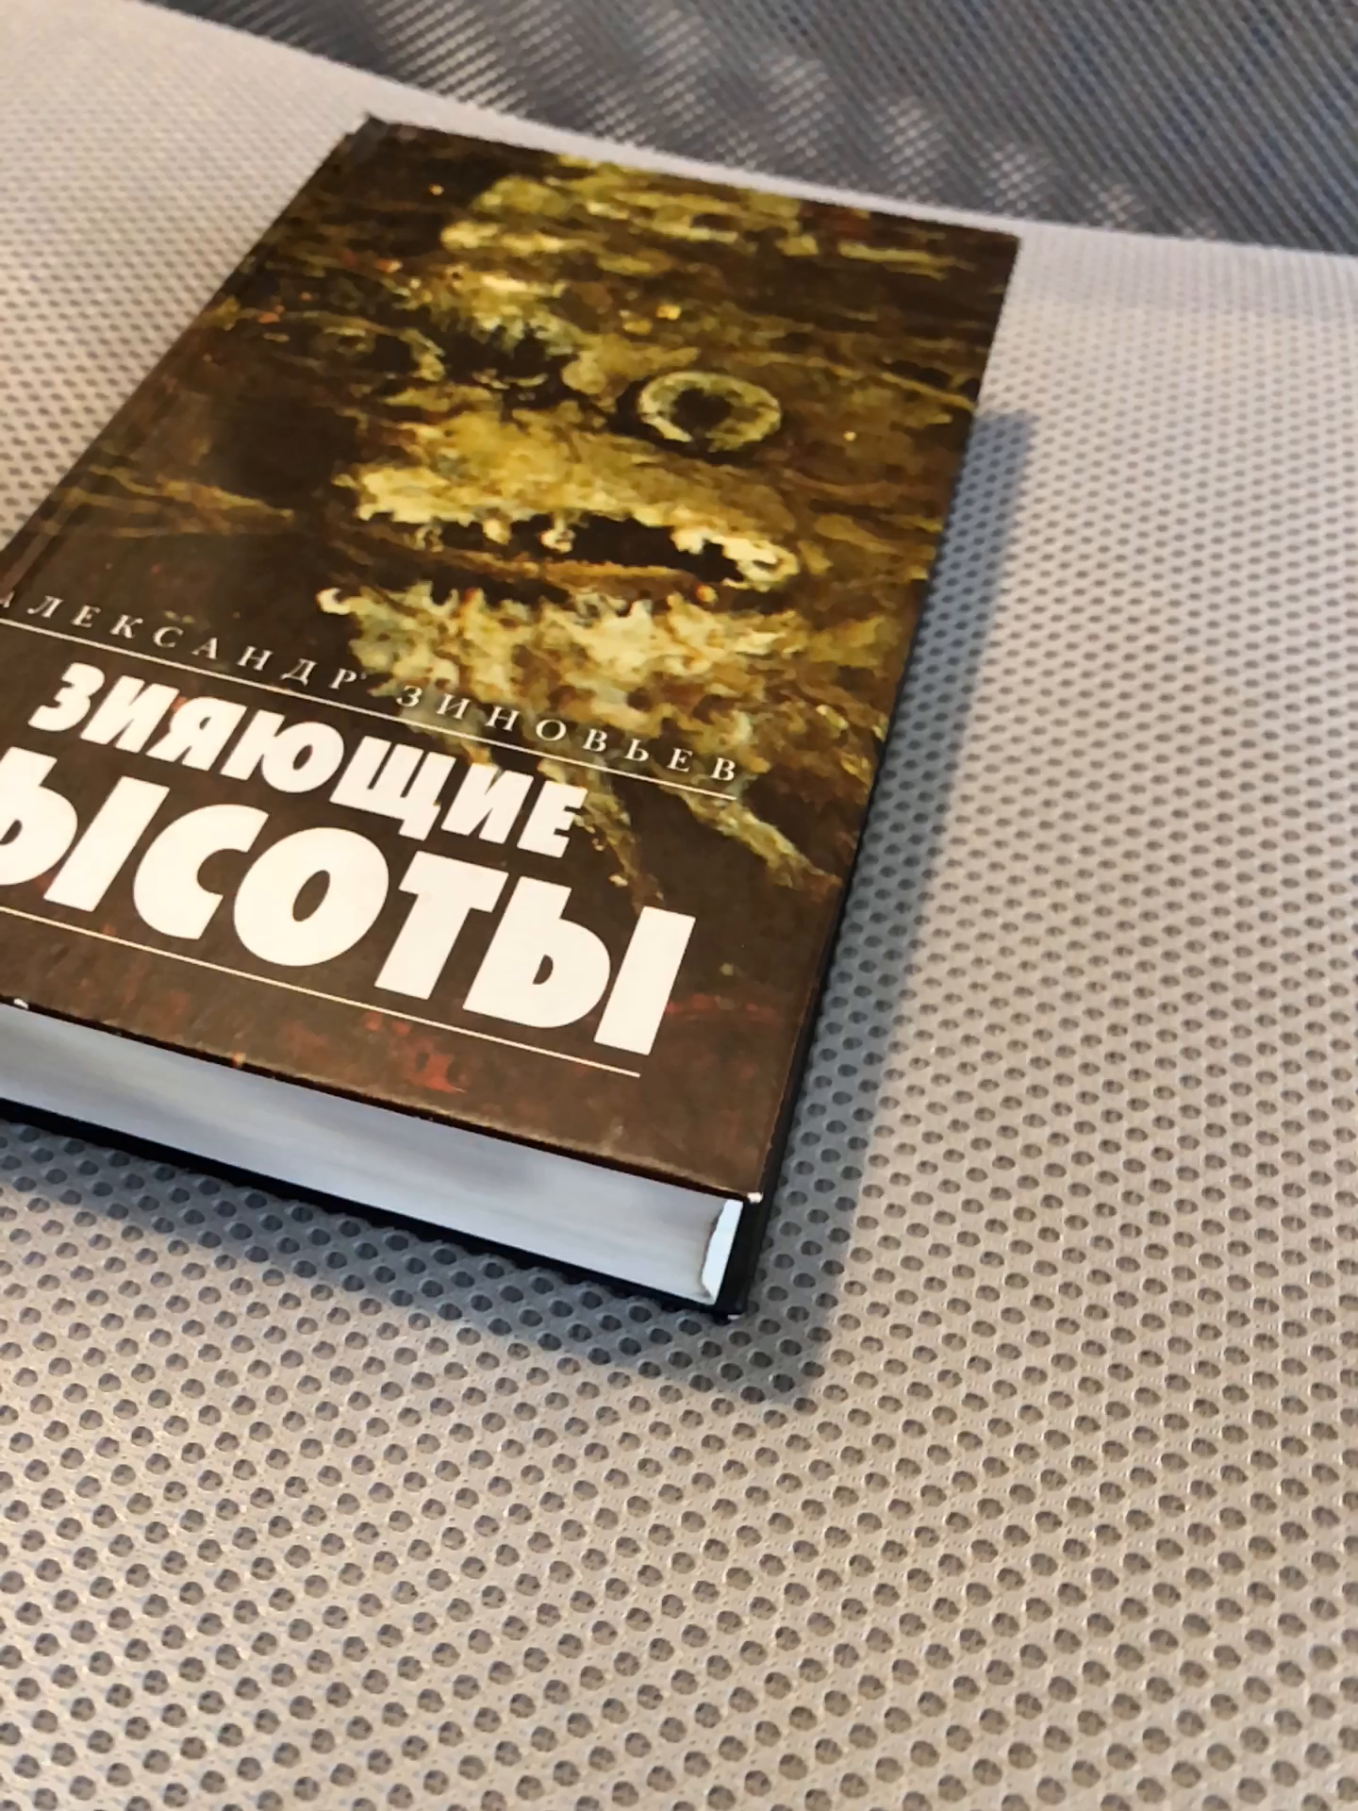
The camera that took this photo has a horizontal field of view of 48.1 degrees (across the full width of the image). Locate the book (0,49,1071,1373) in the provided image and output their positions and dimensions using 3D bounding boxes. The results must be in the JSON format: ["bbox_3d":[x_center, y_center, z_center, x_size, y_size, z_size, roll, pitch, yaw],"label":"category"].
[{"bbox_3d":[-0.028,-0.046,0.232,0.140,0.040,0.191,14,60,6],"label":"book"}]
